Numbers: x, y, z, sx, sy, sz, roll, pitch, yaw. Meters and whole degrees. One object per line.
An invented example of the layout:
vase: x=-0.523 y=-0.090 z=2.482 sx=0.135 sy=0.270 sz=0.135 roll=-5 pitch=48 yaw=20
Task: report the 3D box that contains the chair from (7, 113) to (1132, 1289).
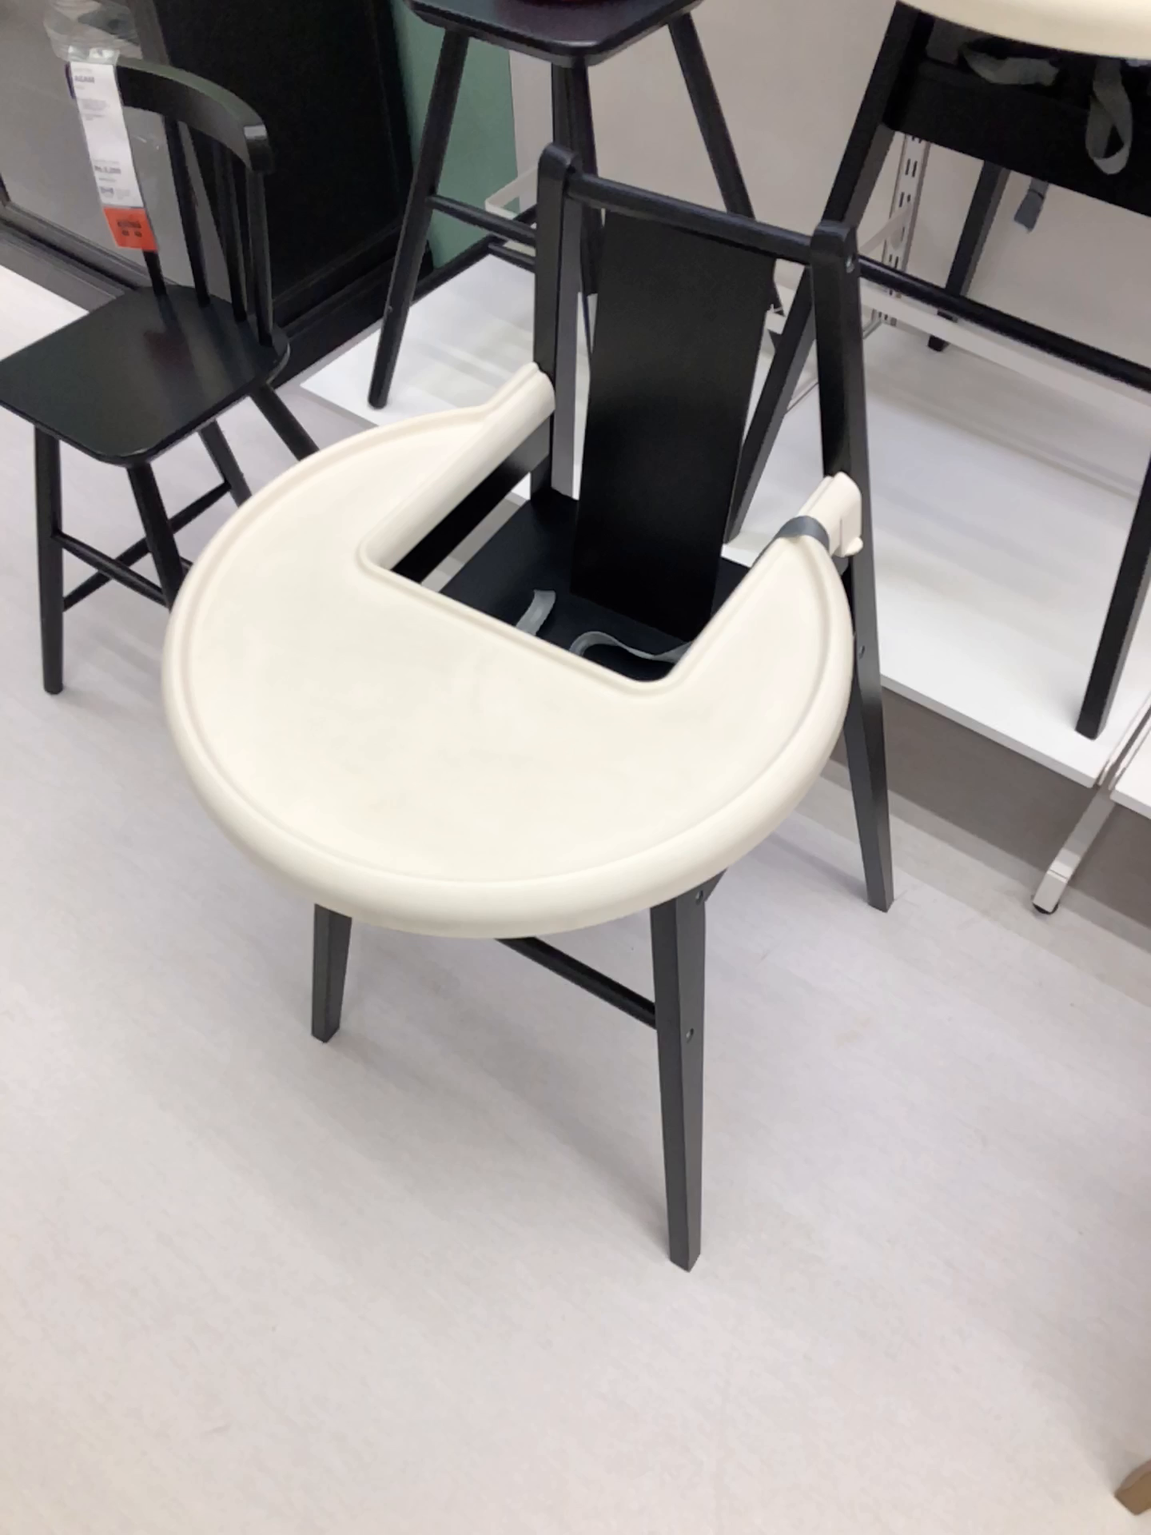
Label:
chair: x=0.026 y=-0.030 z=1.156 sx=0.551 sy=0.775 sz=0.552 roll=27 pitch=58 yaw=21
